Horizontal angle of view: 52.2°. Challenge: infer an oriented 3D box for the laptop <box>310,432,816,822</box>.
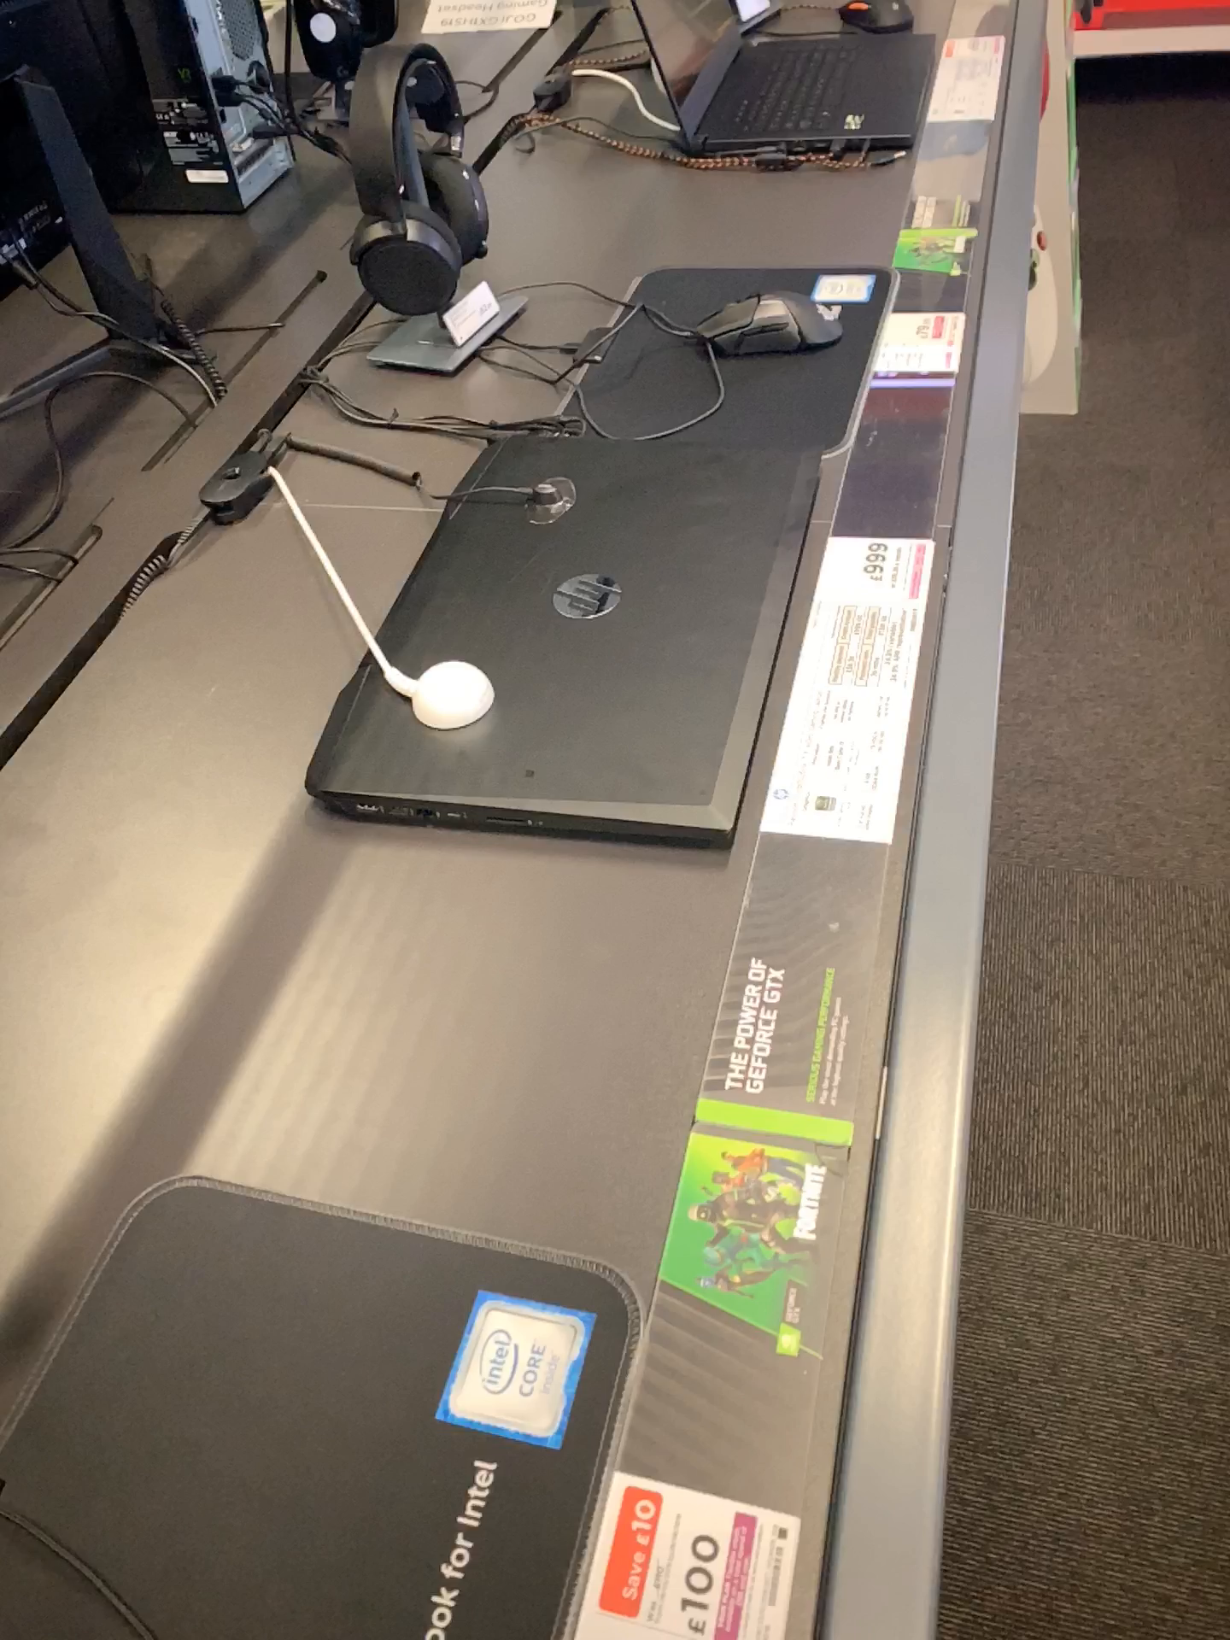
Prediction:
[{"bbox_3d":[-0.017,-0.157,0.865,0.256,0.001,0.397,6,49,15],"label":"laptop"}]
